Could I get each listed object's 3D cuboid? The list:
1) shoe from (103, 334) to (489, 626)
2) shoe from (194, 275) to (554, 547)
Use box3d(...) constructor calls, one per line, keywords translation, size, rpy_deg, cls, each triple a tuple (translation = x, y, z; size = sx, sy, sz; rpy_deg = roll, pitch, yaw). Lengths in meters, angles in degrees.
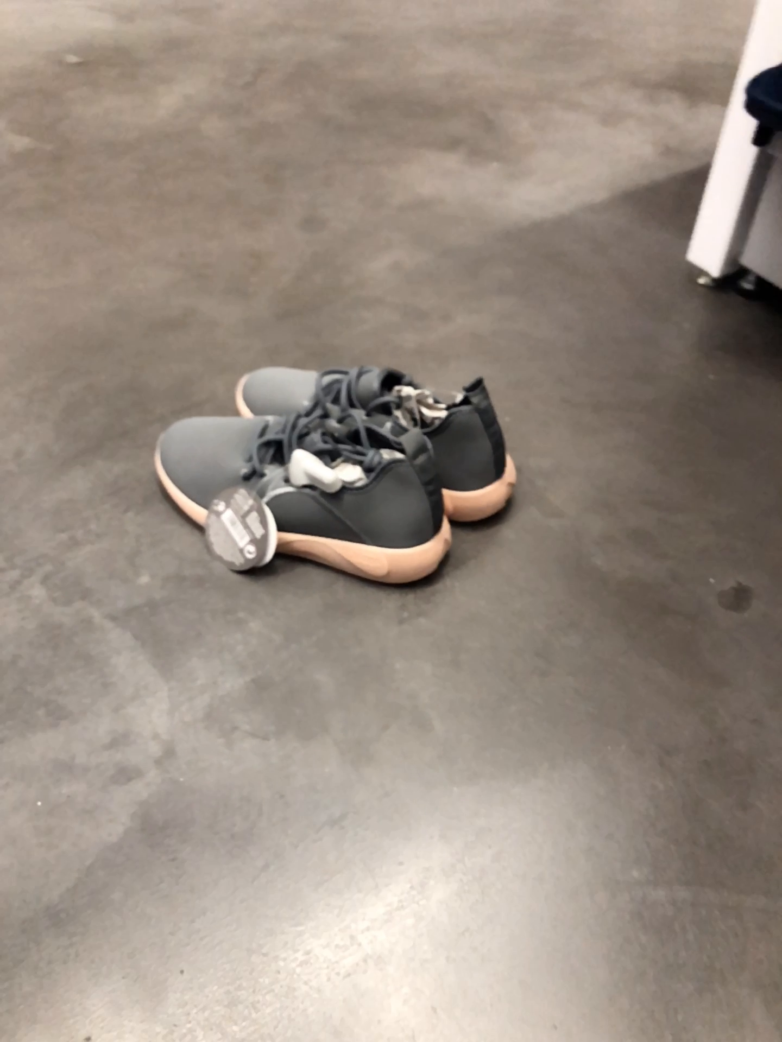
box3d(translation=(-0.064, -0.033, 0.607), size=(0.240, 0.099, 0.091), rpy_deg=(20, 51, 18), cls="shoe")
box3d(translation=(-0.014, -0.086, 0.648), size=(0.240, 0.099, 0.091), rpy_deg=(22, 51, 19), cls="shoe")
